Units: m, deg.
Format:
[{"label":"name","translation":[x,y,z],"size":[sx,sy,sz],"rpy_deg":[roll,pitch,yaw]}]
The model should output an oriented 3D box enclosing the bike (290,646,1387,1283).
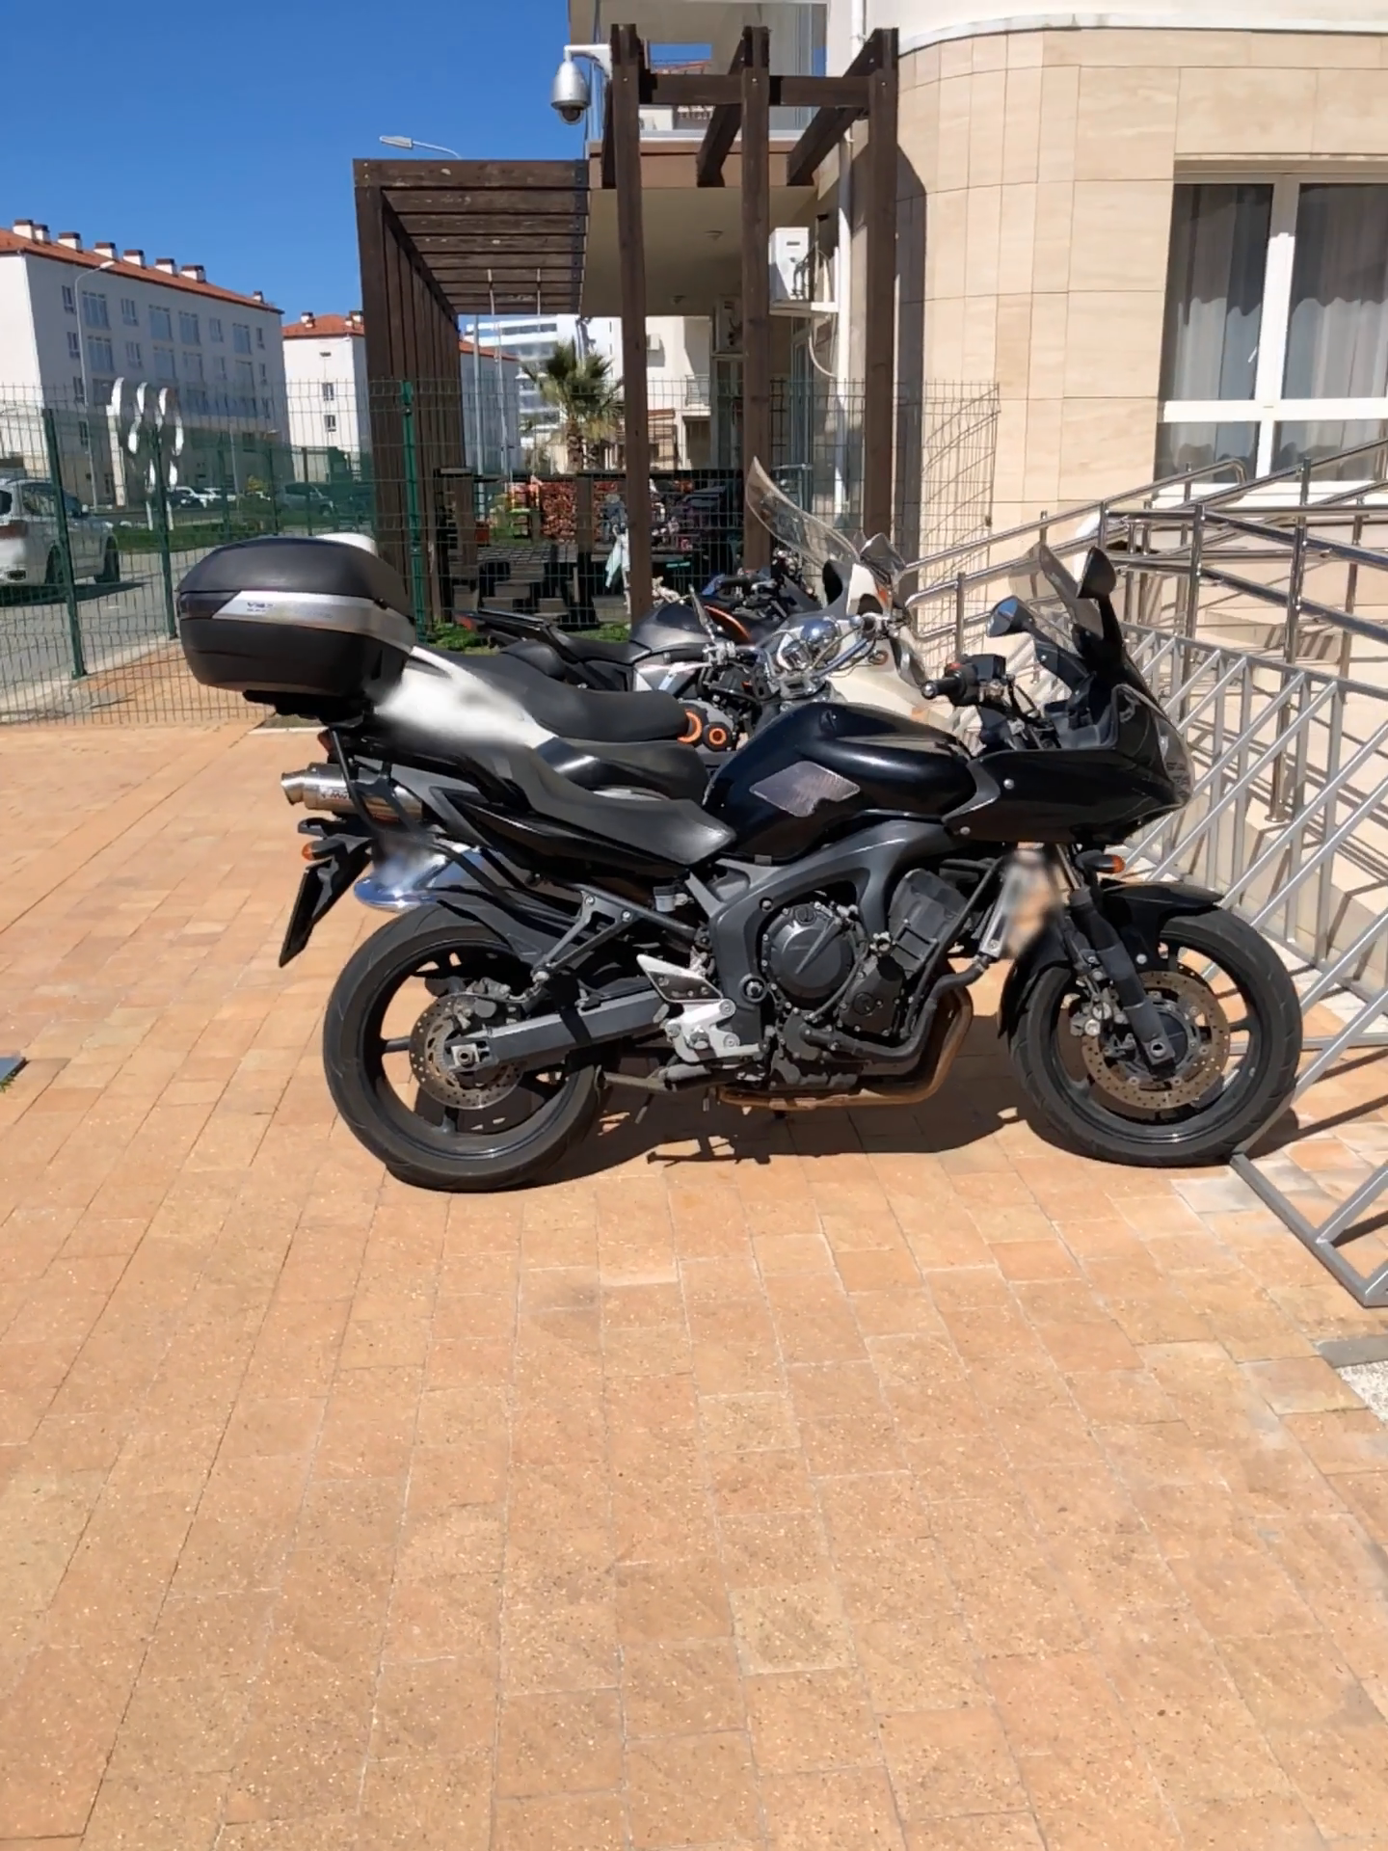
[{"label":"bike","translation":[0.244,0.036,2.868],"size":[1.919,1.003,0.607],"rpy_deg":[-2,15,-2]}]
